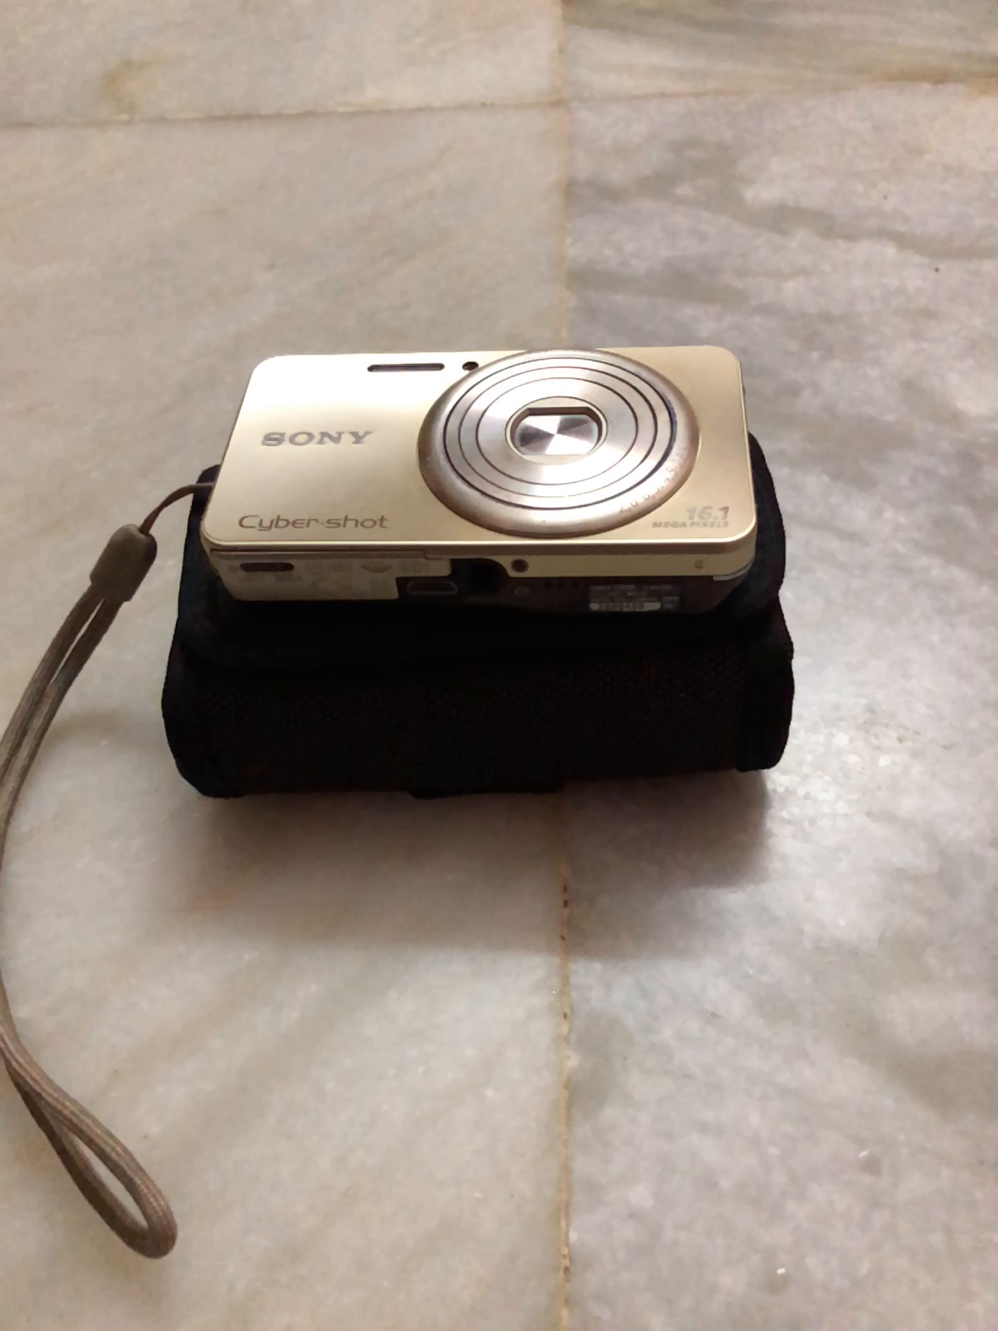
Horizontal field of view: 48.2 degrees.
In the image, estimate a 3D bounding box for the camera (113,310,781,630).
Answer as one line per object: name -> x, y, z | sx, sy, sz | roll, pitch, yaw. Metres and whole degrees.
camera -> -0.007, -0.036, 0.193 | 0.100, 0.020, 0.060 | 1, 50, 4
